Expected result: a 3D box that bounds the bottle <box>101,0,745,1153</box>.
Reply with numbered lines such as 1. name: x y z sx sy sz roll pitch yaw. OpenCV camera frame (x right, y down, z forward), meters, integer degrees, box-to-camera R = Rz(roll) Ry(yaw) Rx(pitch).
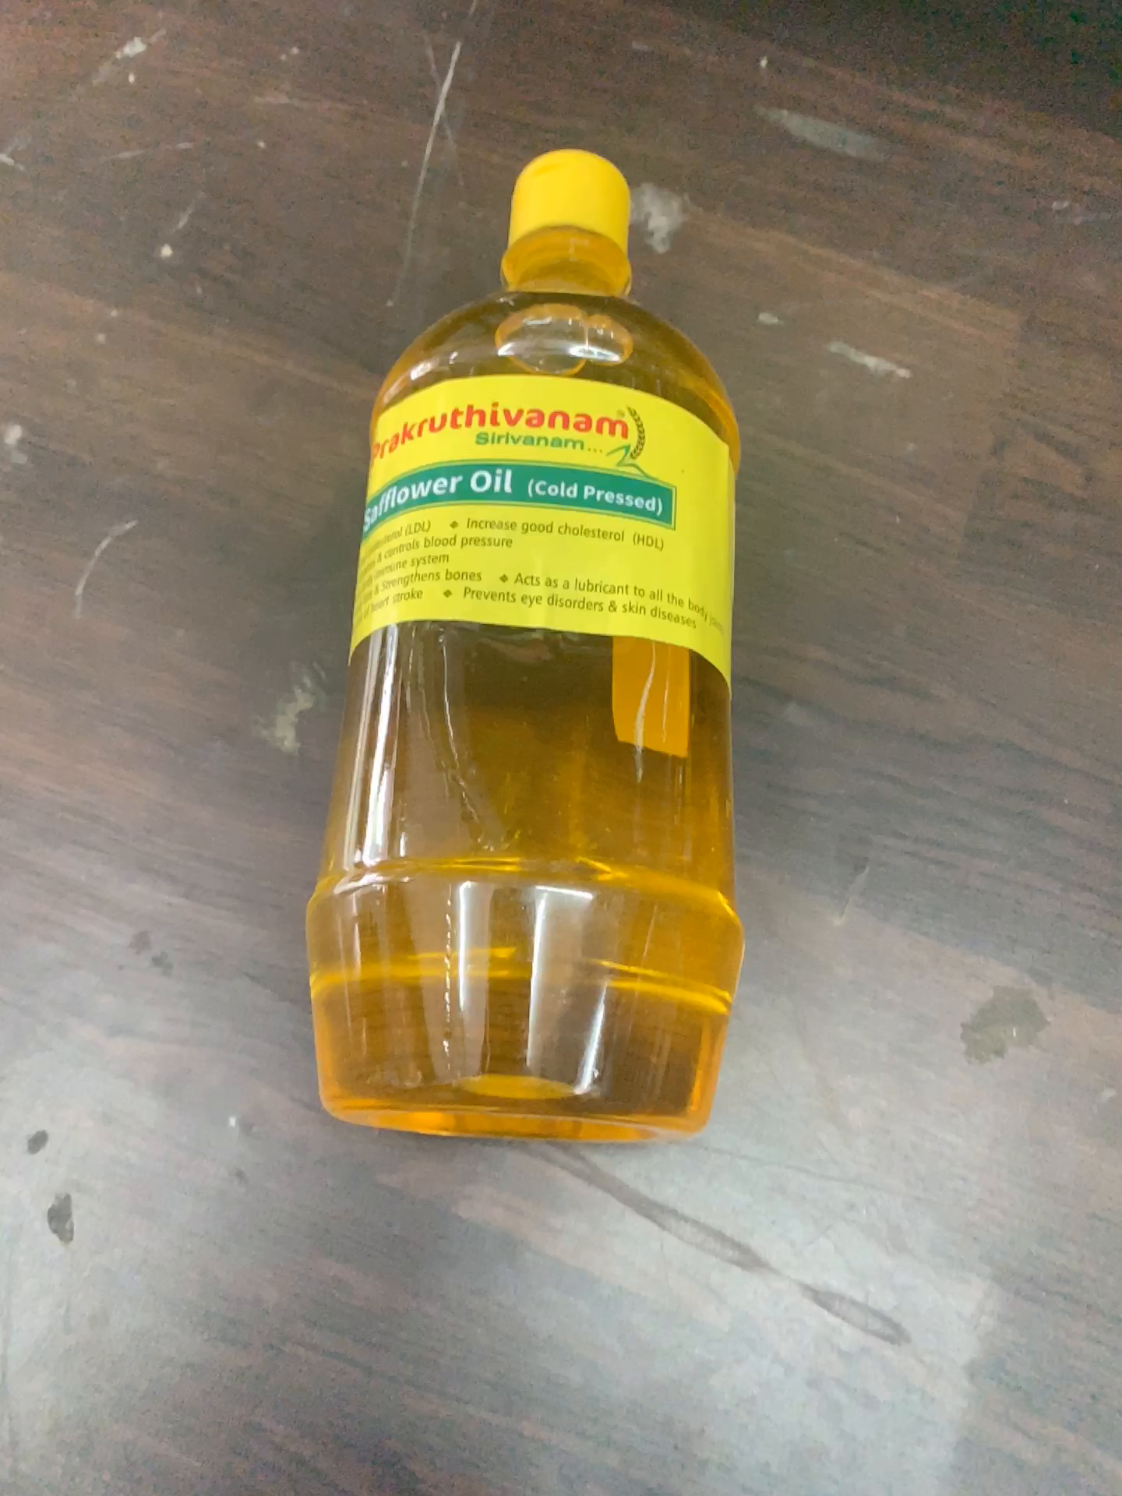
1. bottle: -0.012 -0.040 0.246 0.090 0.080 0.230 -2 69 15
